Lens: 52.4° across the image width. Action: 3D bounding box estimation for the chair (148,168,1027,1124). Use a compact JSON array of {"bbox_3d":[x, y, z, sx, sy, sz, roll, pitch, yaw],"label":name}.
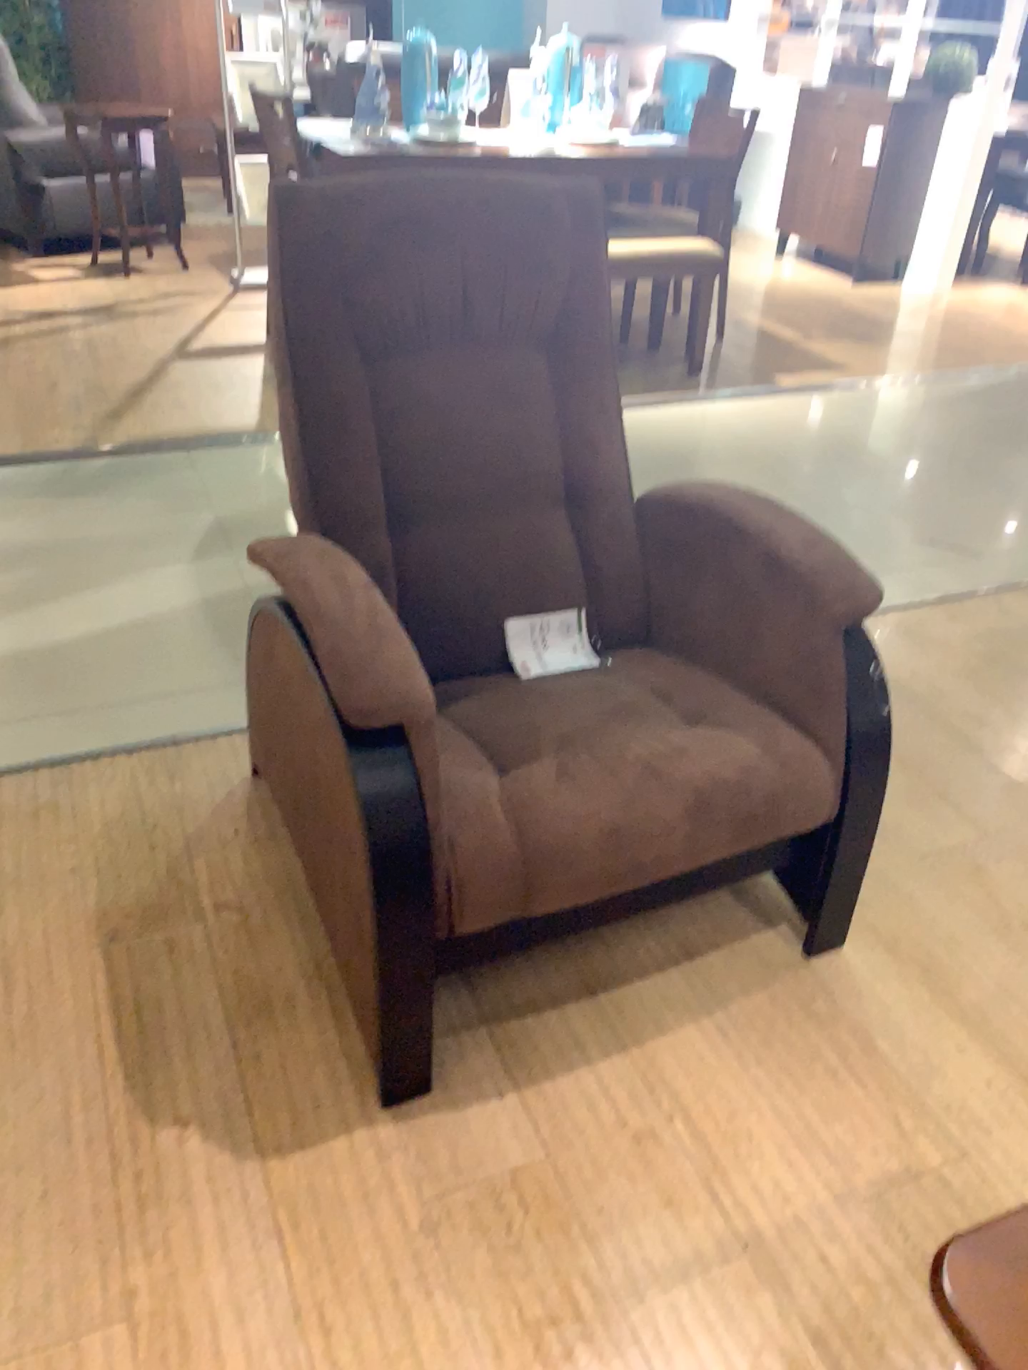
[{"bbox_3d":[0.024,-0.188,1.519,0.800,0.886,1.004,-12,36,-22],"label":"chair"}]
